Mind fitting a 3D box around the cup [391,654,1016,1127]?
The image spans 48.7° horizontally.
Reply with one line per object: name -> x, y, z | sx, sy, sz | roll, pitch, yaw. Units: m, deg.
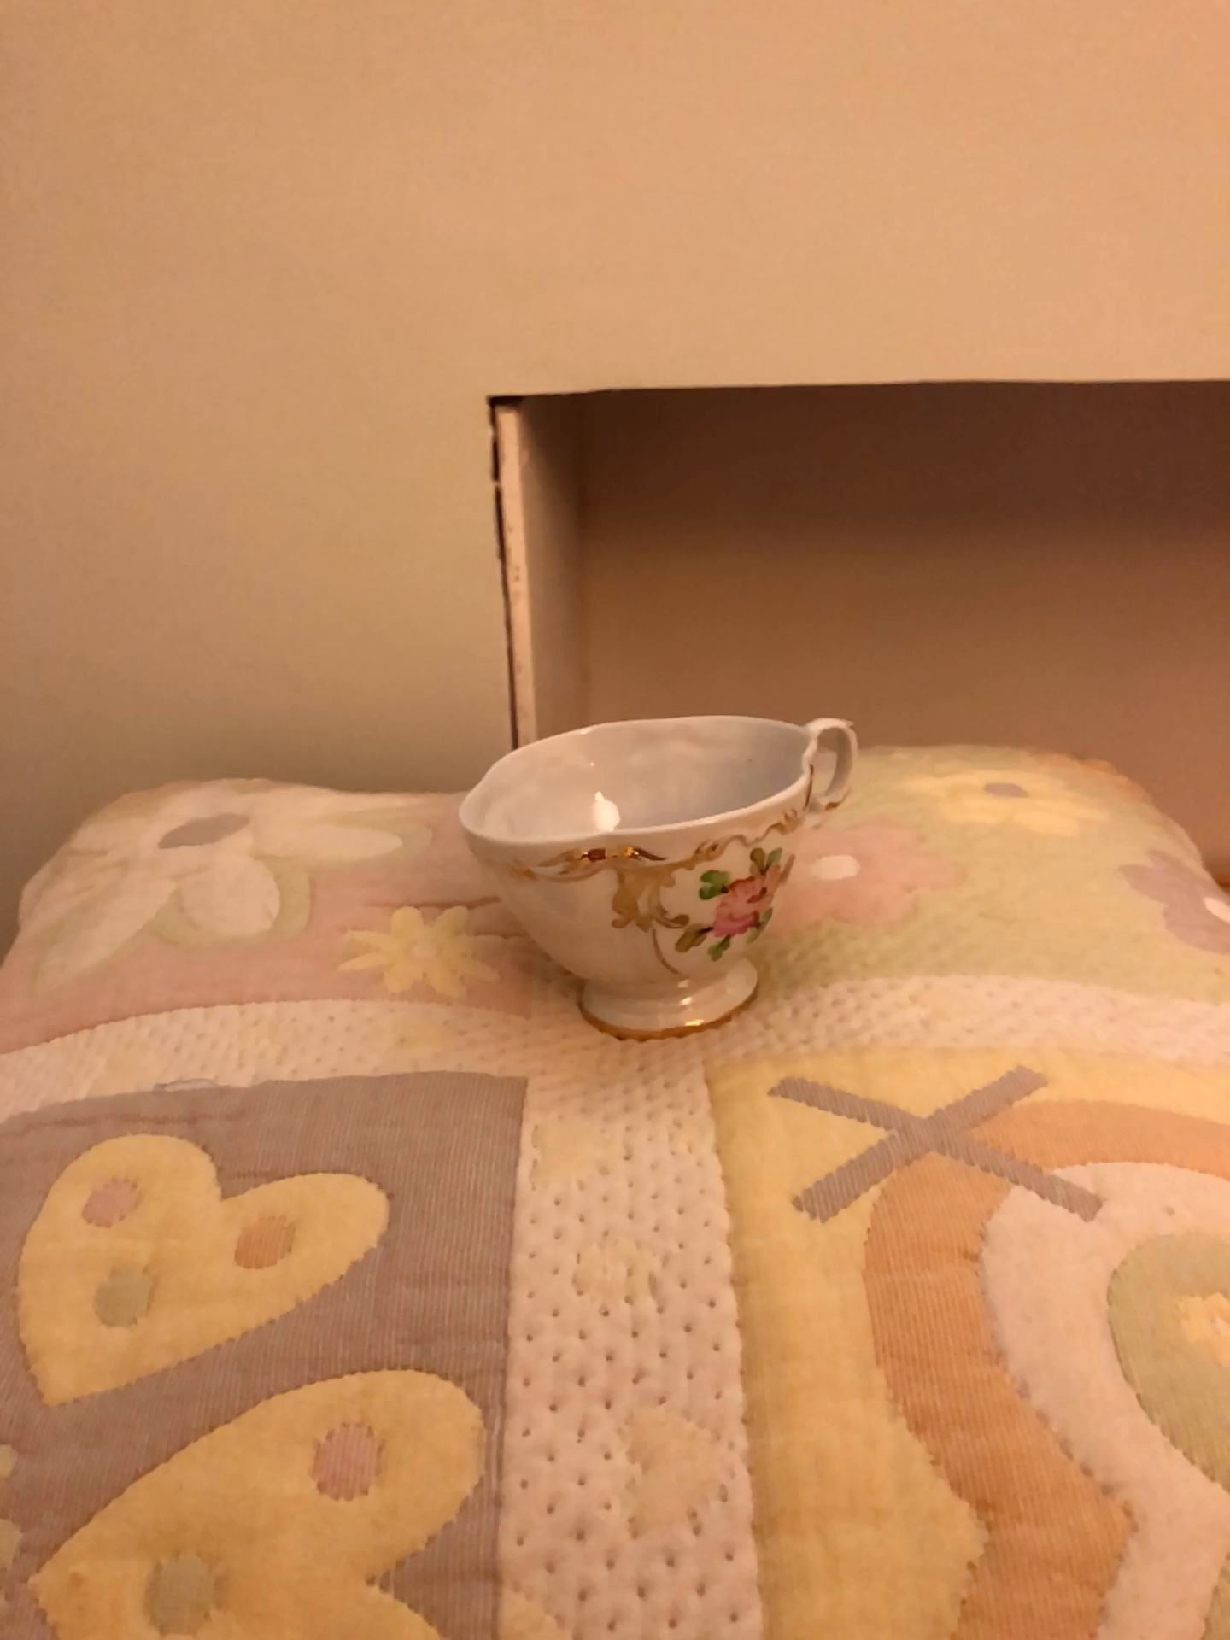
cup -> 0.028, 0.009, 0.388 | 0.141, 0.070, 0.100 | -22, 24, -33
